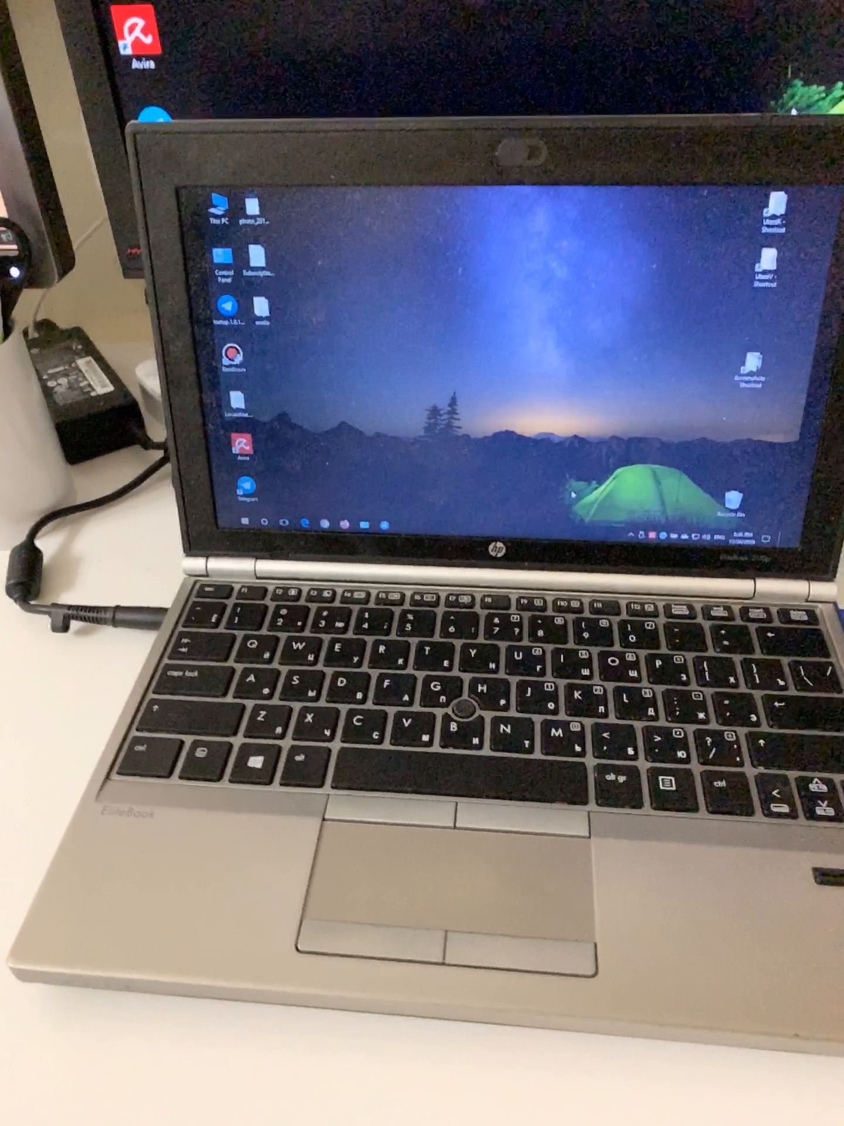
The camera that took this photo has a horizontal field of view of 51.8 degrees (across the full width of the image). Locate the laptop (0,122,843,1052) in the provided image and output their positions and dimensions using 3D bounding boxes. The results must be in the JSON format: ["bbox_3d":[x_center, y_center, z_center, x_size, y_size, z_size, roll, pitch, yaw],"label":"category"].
[{"bbox_3d":[0.024,-0.015,0.278,0.283,0.176,0.227,2,40,5],"label":"laptop"}]
